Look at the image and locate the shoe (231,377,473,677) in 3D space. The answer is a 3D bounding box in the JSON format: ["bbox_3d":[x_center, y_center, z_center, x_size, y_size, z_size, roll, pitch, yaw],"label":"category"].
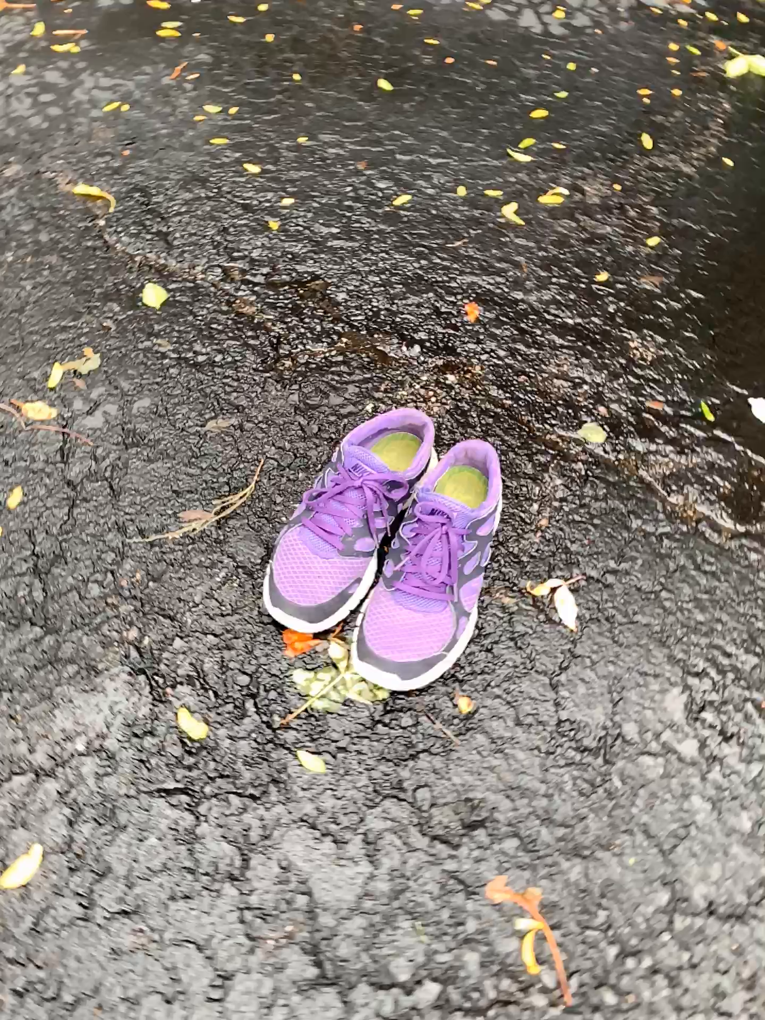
[{"bbox_3d":[-0.025,0.011,0.833,0.110,0.090,0.301,27,64,11],"label":"shoe"}]

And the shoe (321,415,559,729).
[{"bbox_3d":[0.064,0.061,0.822,0.110,0.100,0.301,27,67,11],"label":"shoe"}]
